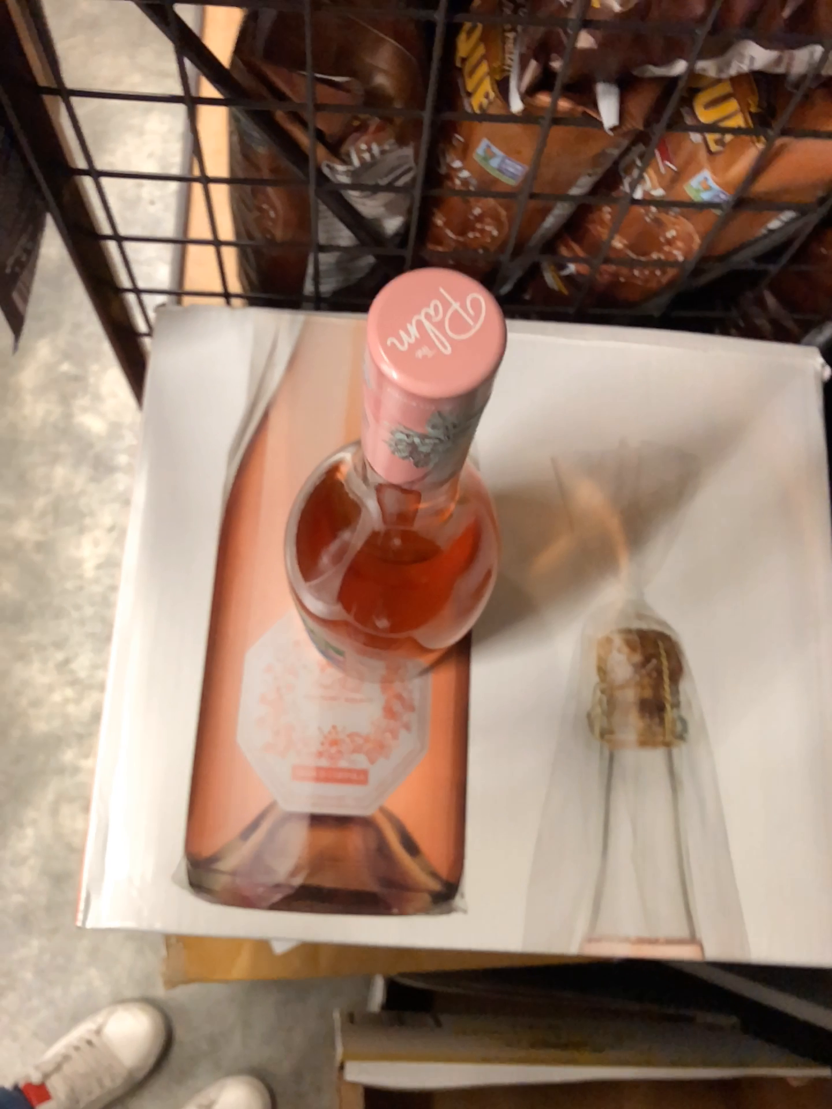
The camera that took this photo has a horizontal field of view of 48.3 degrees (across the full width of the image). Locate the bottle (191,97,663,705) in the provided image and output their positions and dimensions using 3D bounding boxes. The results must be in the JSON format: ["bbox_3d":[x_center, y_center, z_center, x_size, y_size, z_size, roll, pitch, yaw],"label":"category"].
[{"bbox_3d":[-0.007,-0.012,0.325,0.090,0.287,0.087,1,74,-5],"label":"bottle"}]
